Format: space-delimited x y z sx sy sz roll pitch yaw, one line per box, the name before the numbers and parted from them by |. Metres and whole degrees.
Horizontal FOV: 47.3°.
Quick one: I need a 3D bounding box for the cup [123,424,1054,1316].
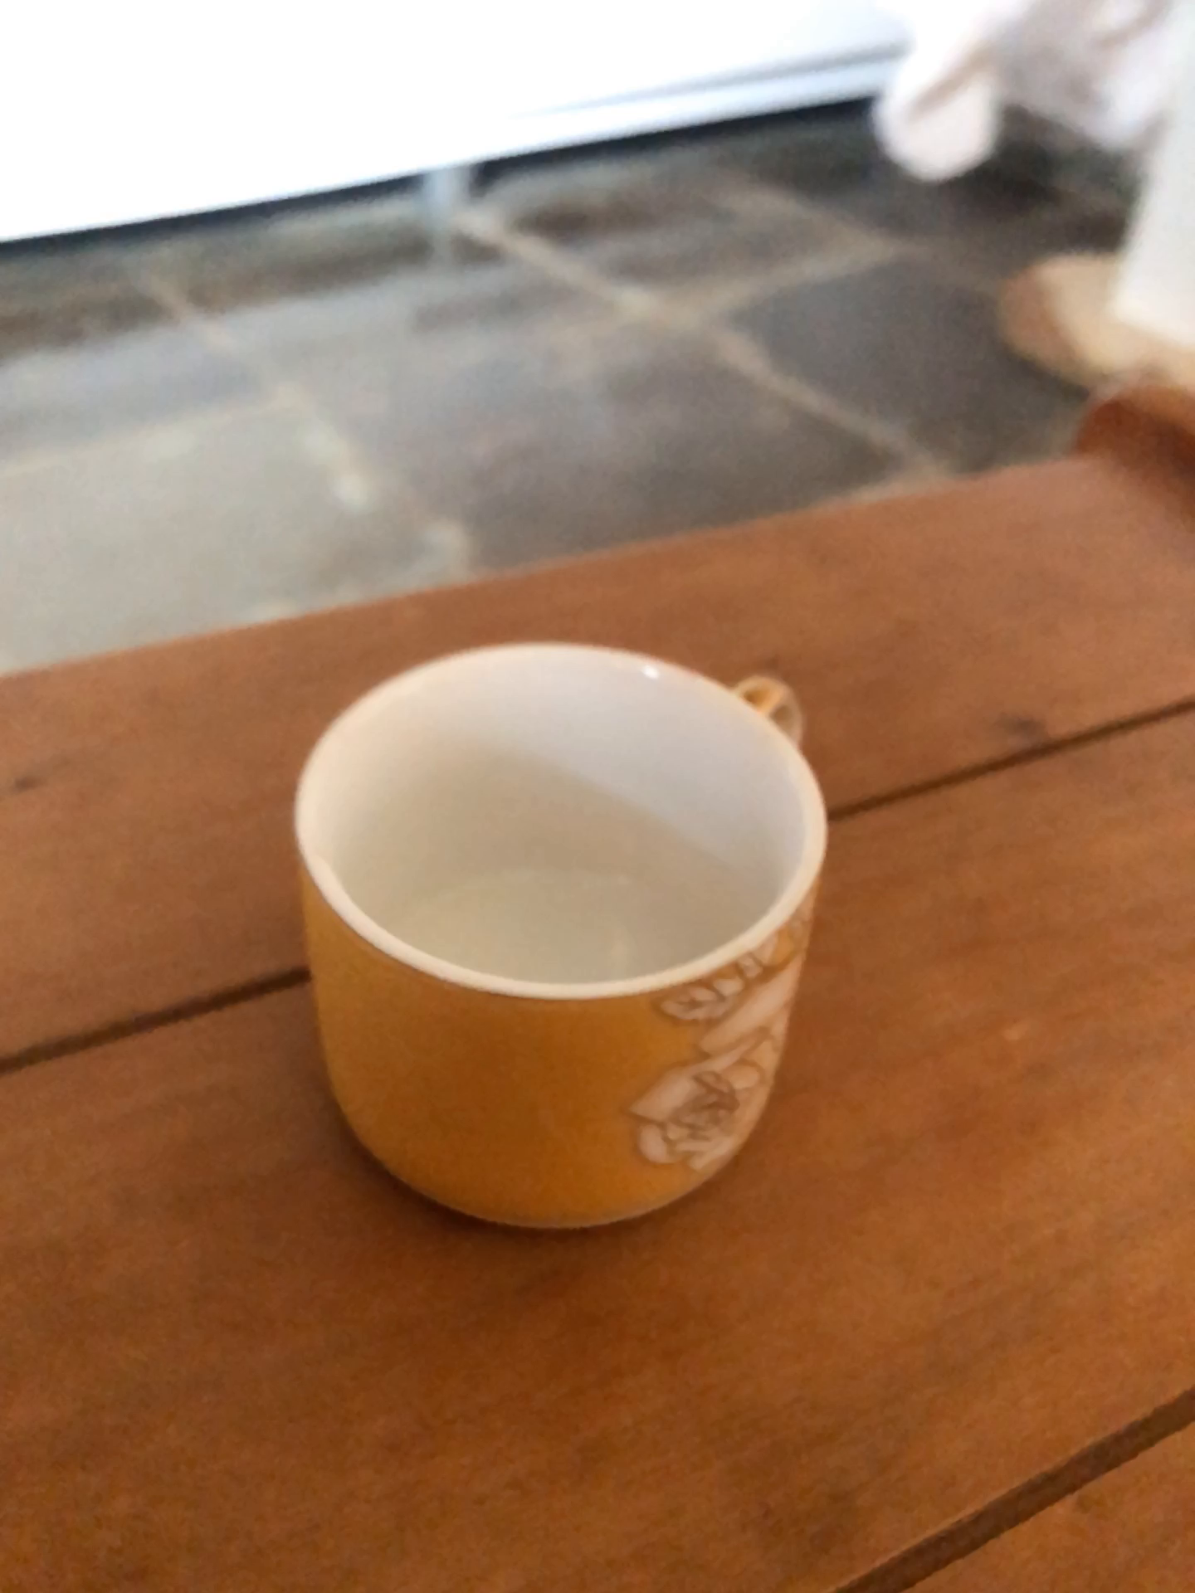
cup | 0.003 0.001 0.177 0.070 0.050 0.091 27 46 25
